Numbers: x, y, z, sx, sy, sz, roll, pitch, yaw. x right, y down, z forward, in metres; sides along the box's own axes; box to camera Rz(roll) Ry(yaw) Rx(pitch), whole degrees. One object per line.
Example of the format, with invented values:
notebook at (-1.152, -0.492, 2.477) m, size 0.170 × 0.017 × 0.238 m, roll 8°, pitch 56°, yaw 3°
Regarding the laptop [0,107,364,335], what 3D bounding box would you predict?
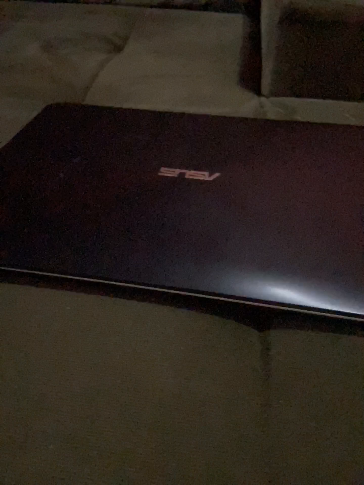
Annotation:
laptop at (-0.004, -0.052, 0.331) m, size 0.369 × 0.004 × 0.235 m, roll 8°, pitch 44°, yaw 8°
